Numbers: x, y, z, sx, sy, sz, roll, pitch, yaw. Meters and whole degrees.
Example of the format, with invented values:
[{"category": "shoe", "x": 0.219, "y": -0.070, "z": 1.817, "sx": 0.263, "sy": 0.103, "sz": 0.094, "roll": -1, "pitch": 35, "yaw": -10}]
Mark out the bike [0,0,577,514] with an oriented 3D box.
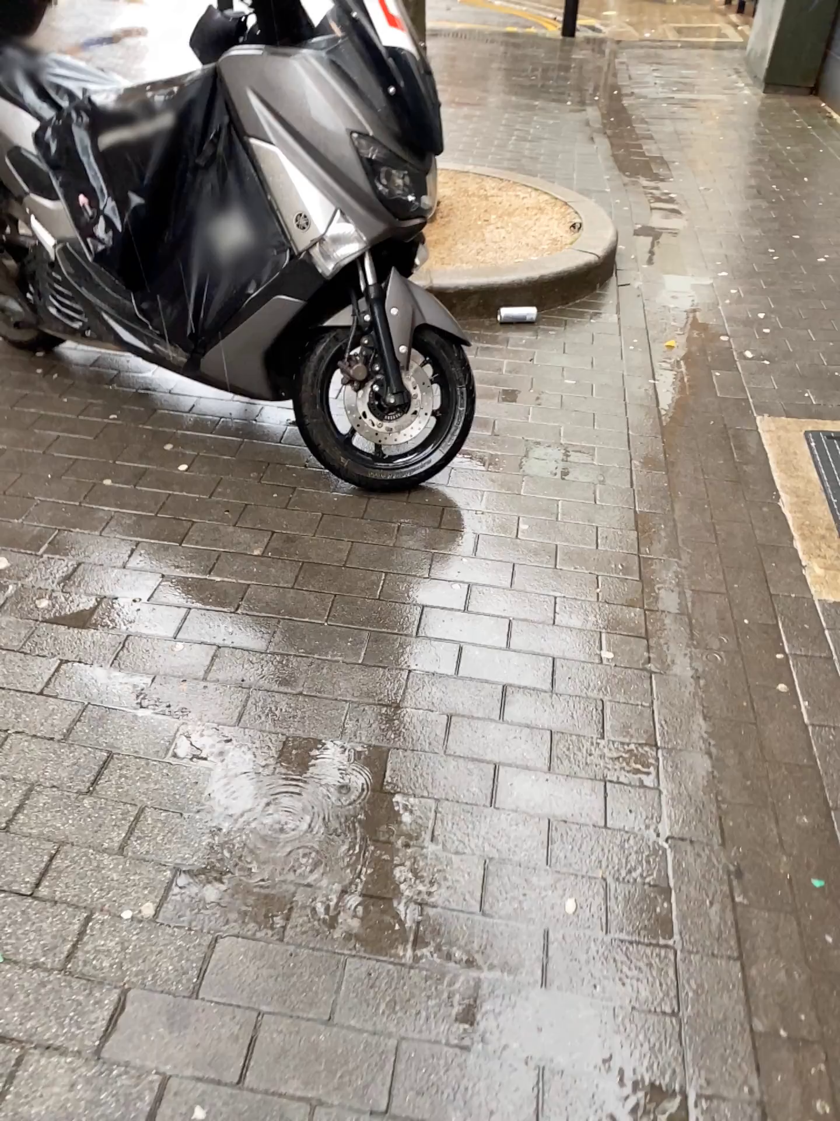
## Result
[{"category": "bike", "x": -0.587, "y": -1.025, "z": 2.374, "sx": 1.732, "sy": 1.121, "sz": 0.762, "roll": 17, "pitch": 40, "yaw": 17}]
